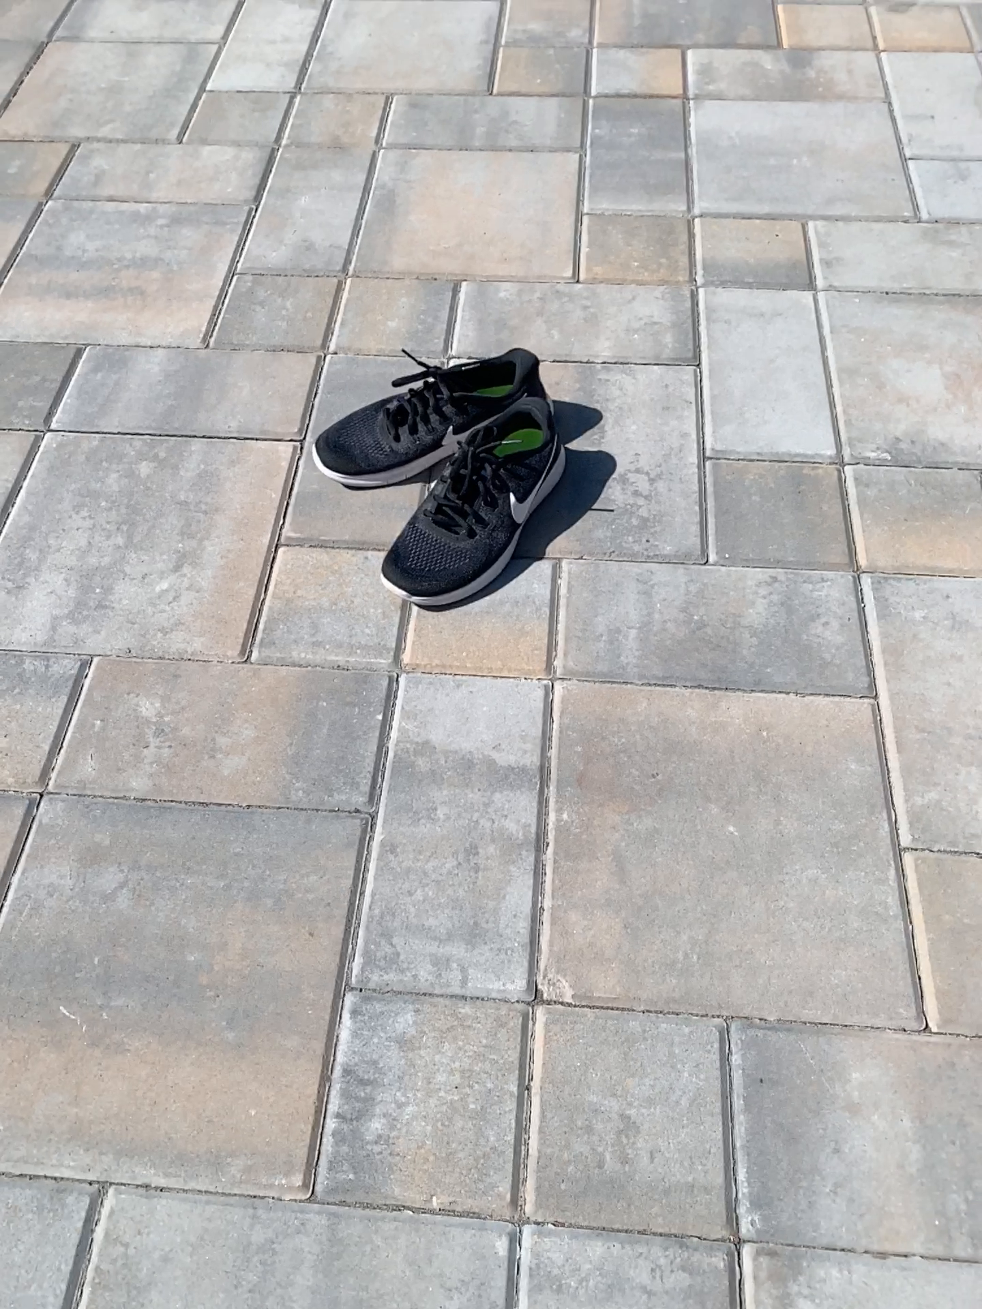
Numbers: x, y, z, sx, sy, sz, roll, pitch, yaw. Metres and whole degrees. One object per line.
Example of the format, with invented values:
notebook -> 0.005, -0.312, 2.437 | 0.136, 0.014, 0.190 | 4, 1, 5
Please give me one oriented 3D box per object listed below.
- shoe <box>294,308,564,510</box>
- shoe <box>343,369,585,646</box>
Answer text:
shoe -> -0.062, -0.259, 1.055 | 0.250, 0.100, 0.110 | -18, 57, -10
shoe -> -0.019, -0.151, 1.002 | 0.110, 0.110, 0.250 | 28, 61, 19
